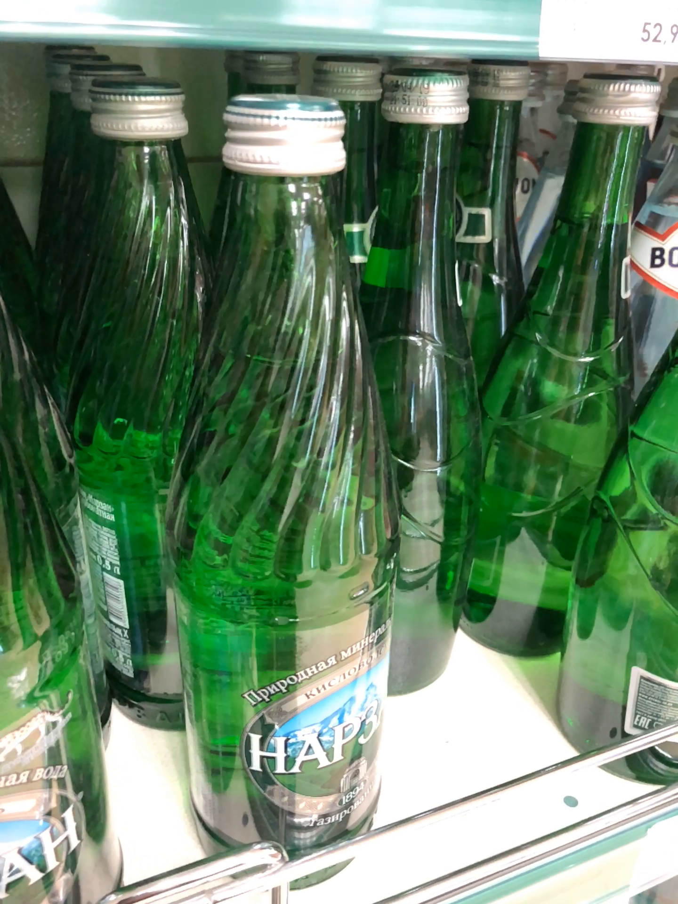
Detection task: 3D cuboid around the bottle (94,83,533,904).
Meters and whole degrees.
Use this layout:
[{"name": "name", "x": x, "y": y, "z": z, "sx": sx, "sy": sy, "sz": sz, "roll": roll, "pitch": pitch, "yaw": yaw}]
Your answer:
[{"name": "bottle", "x": -0.011, "y": 0.026, "z": 0.223, "sx": 0.080, "sy": 0.240, "sz": 0.060, "roll": -11, "pitch": 30, "yaw": -24}]
